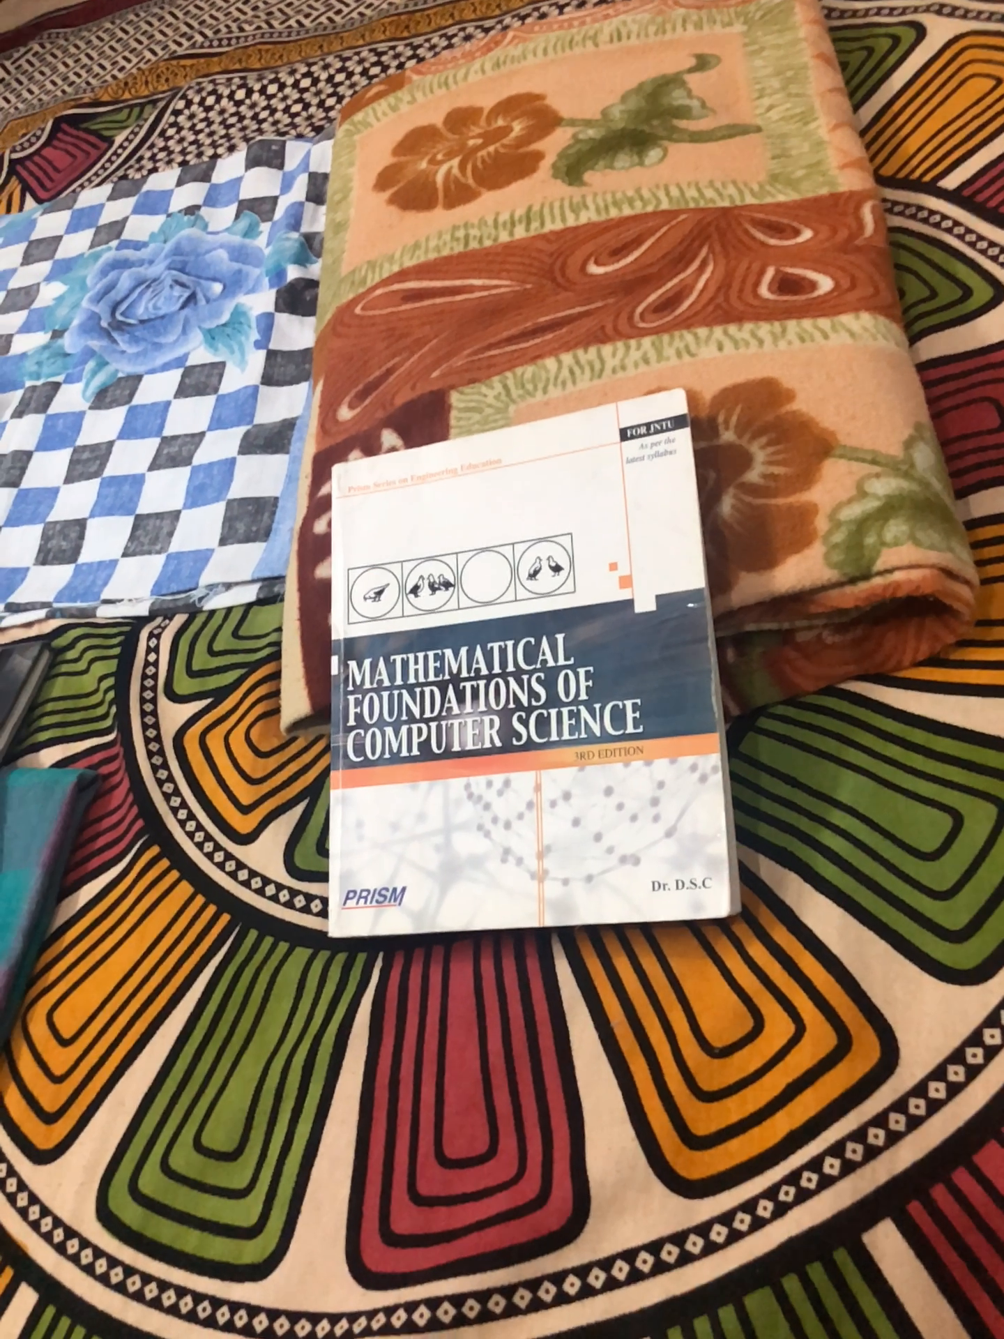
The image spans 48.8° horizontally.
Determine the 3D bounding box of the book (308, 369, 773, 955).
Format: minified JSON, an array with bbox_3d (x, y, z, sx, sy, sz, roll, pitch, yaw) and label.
[{"bbox_3d":[0.012,0.002,0.512,0.190,0.060,0.240,-9,69,21],"label":"book"}]
